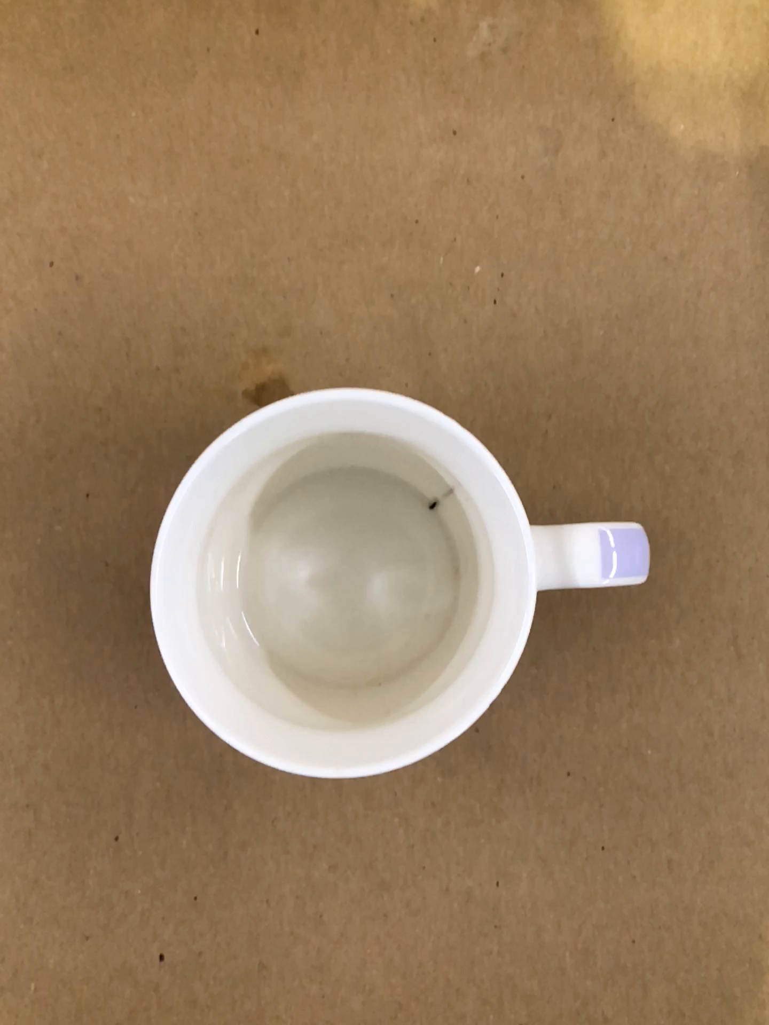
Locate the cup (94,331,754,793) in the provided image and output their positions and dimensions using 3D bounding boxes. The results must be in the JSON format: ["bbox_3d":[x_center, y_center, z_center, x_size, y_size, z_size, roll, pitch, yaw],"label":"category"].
[{"bbox_3d":[0.007,0.013,0.238,0.140,0.090,0.090,-6,86,-2],"label":"cup"}]
